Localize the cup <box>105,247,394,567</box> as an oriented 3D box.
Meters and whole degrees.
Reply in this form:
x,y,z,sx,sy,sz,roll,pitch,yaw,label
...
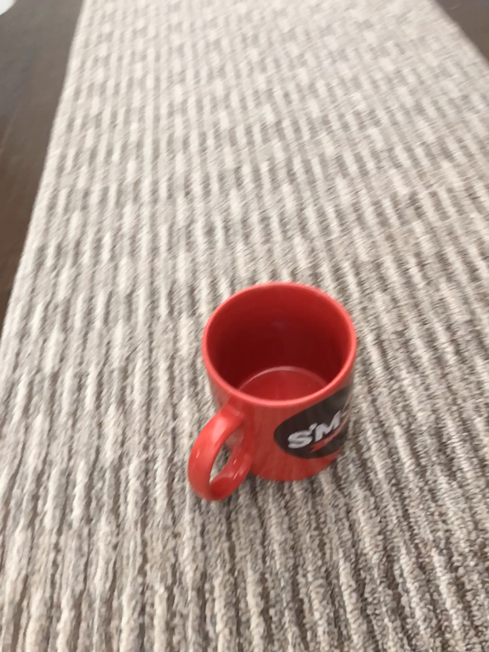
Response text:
x,y,z,sx,sy,sz,roll,pitch,yaw,label
0.012,0.052,0.379,0.110,0.119,0.151,28,58,27,cup
